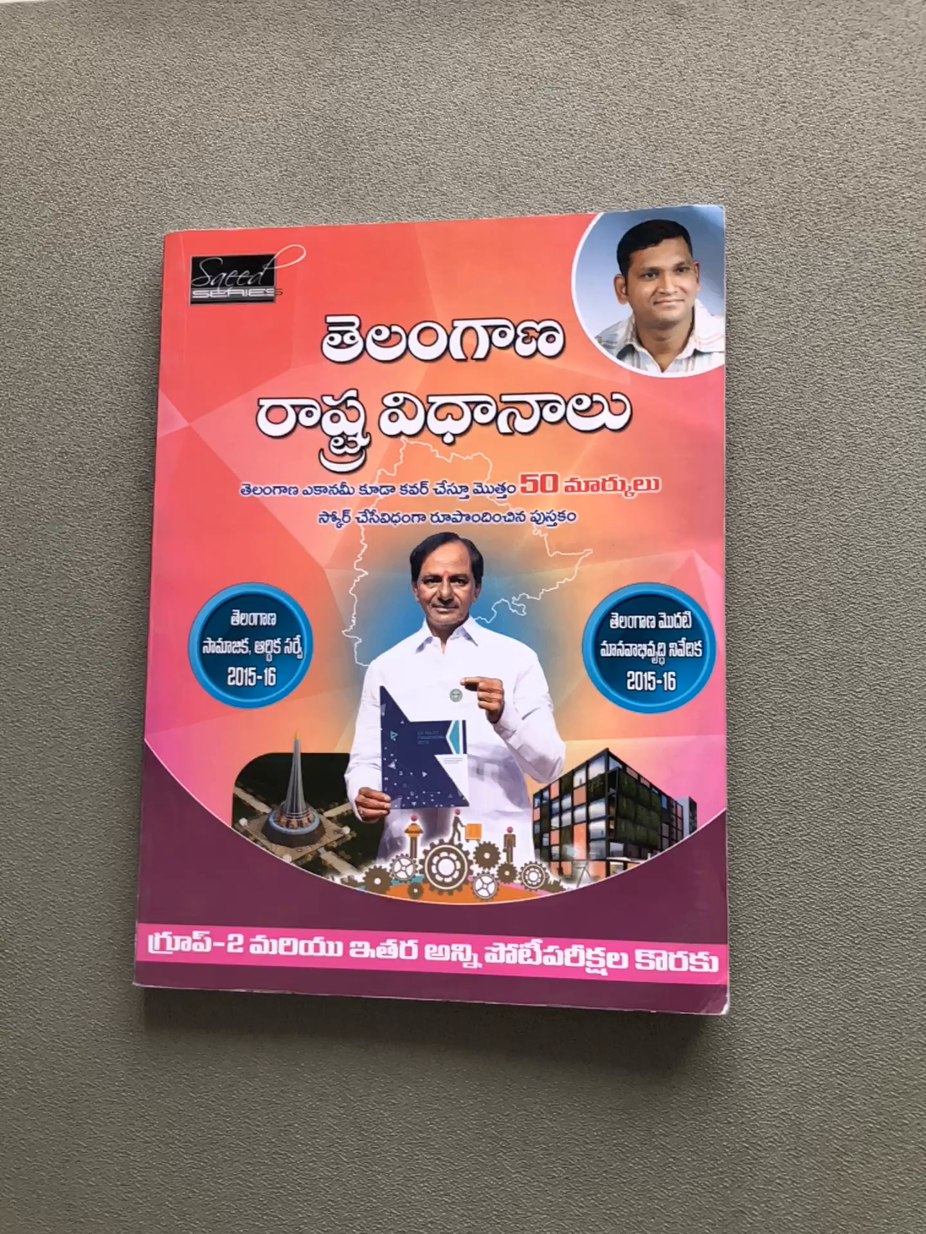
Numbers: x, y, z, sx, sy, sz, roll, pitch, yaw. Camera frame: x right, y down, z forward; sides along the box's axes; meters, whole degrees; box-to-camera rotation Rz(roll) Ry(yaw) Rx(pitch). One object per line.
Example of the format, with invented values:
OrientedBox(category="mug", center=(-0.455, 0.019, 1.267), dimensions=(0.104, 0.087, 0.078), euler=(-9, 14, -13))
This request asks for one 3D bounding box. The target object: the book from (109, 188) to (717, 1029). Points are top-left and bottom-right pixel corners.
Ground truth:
OrientedBox(category="book", center=(-0.014, -0.007, 0.327), dimensions=(0.180, 0.030, 0.250), euler=(1, 85, 5))
